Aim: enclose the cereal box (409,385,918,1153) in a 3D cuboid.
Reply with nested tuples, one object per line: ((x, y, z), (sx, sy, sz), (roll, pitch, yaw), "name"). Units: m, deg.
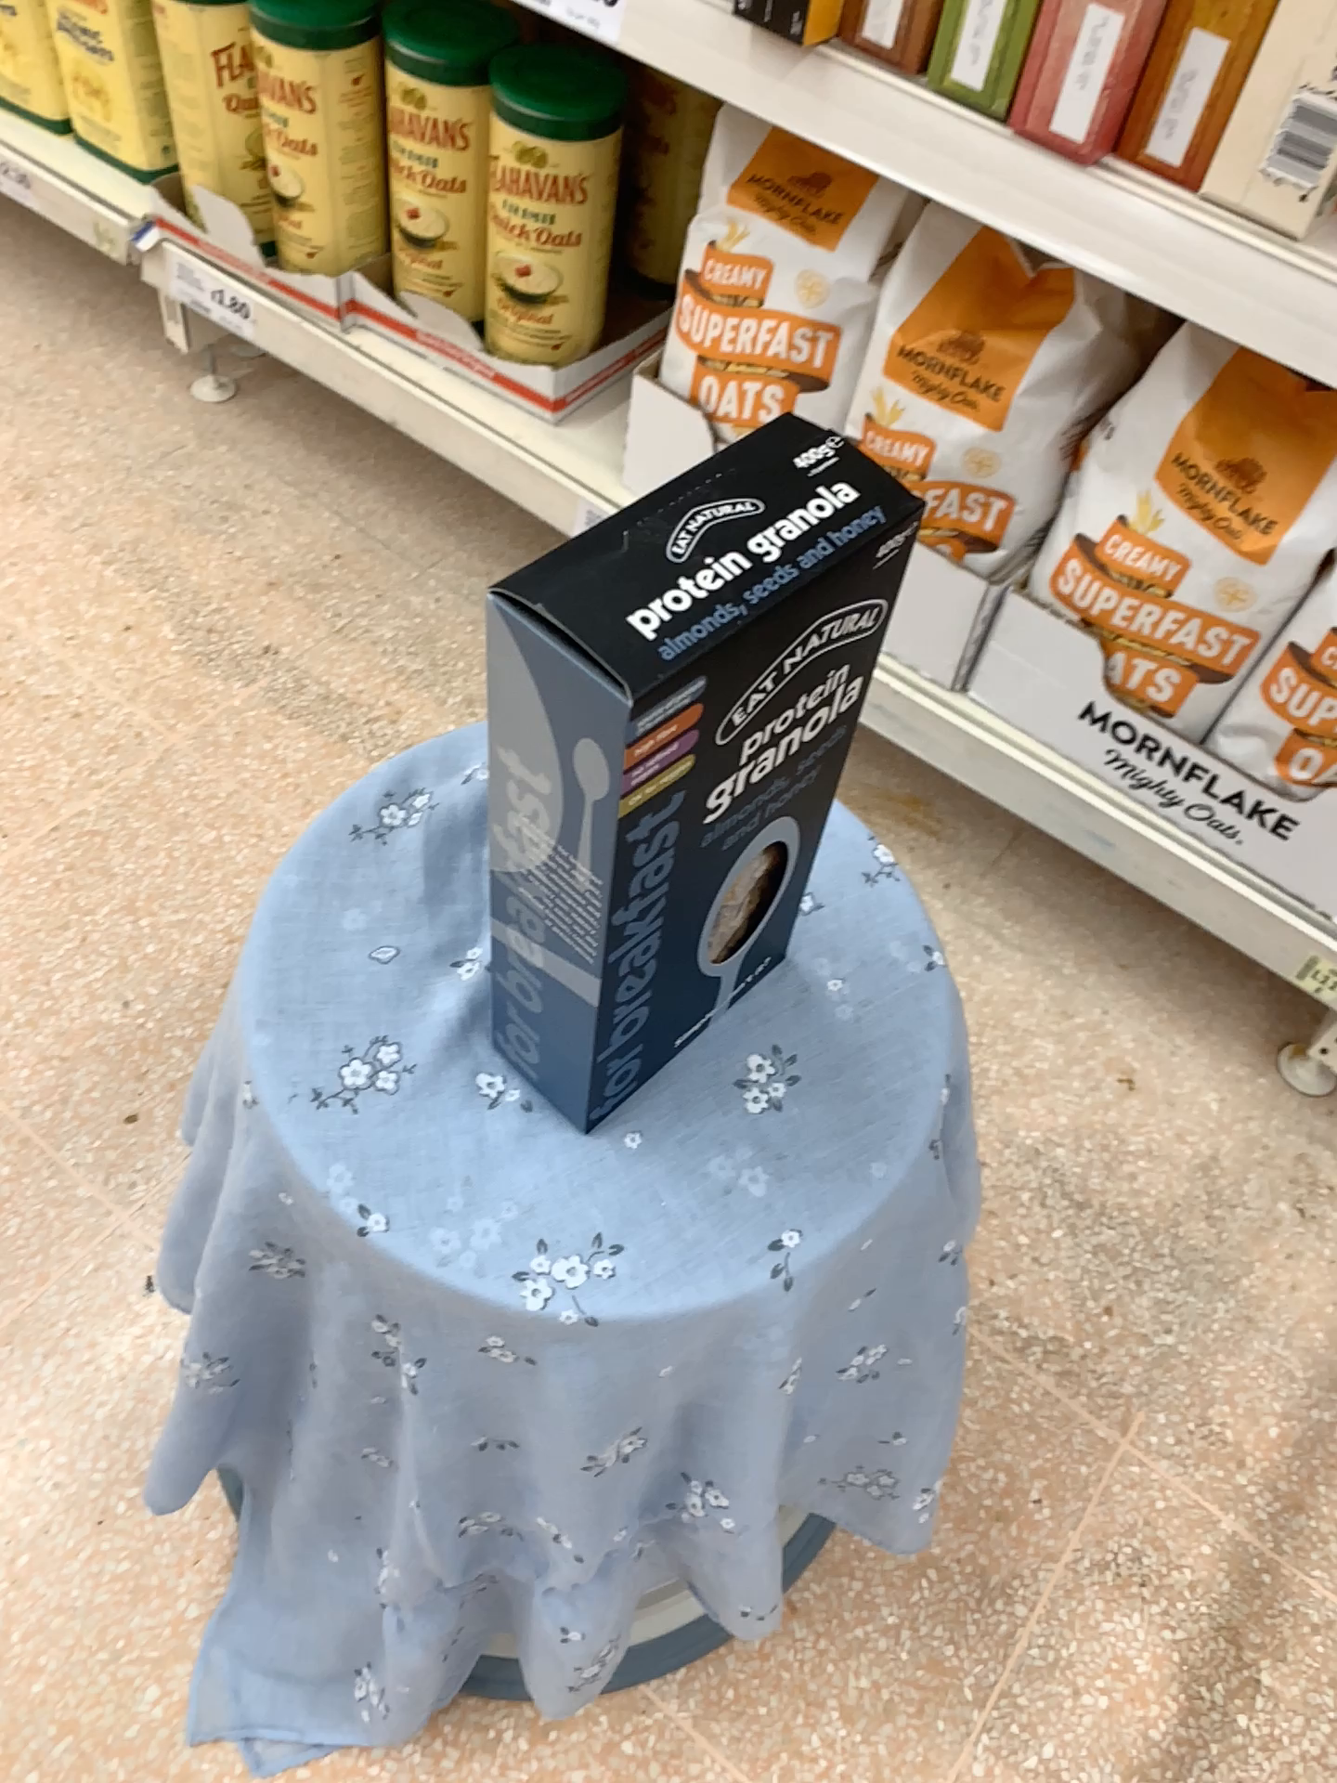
((-0.012, -0.028, 0.468), (0.070, 0.238, 0.131), (39, 58, 19), "cereal box")
